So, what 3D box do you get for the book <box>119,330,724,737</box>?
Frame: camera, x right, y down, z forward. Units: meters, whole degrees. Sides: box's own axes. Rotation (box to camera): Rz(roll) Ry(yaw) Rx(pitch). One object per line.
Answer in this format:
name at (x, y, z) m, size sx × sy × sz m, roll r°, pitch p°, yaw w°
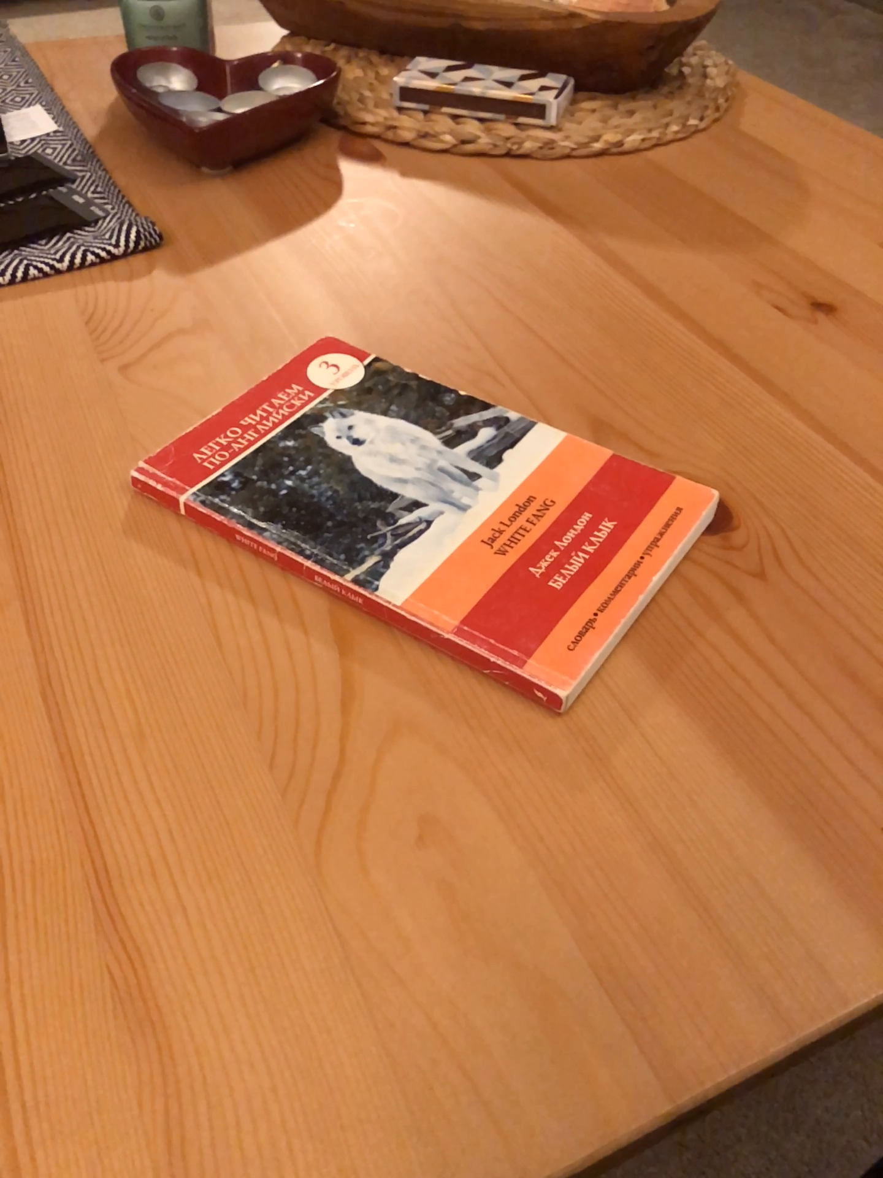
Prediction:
book at (-0.008, -0.037, 0.397) m, size 0.204 × 0.020 × 0.129 m, roll 26°, pitch 50°, yaw 22°
